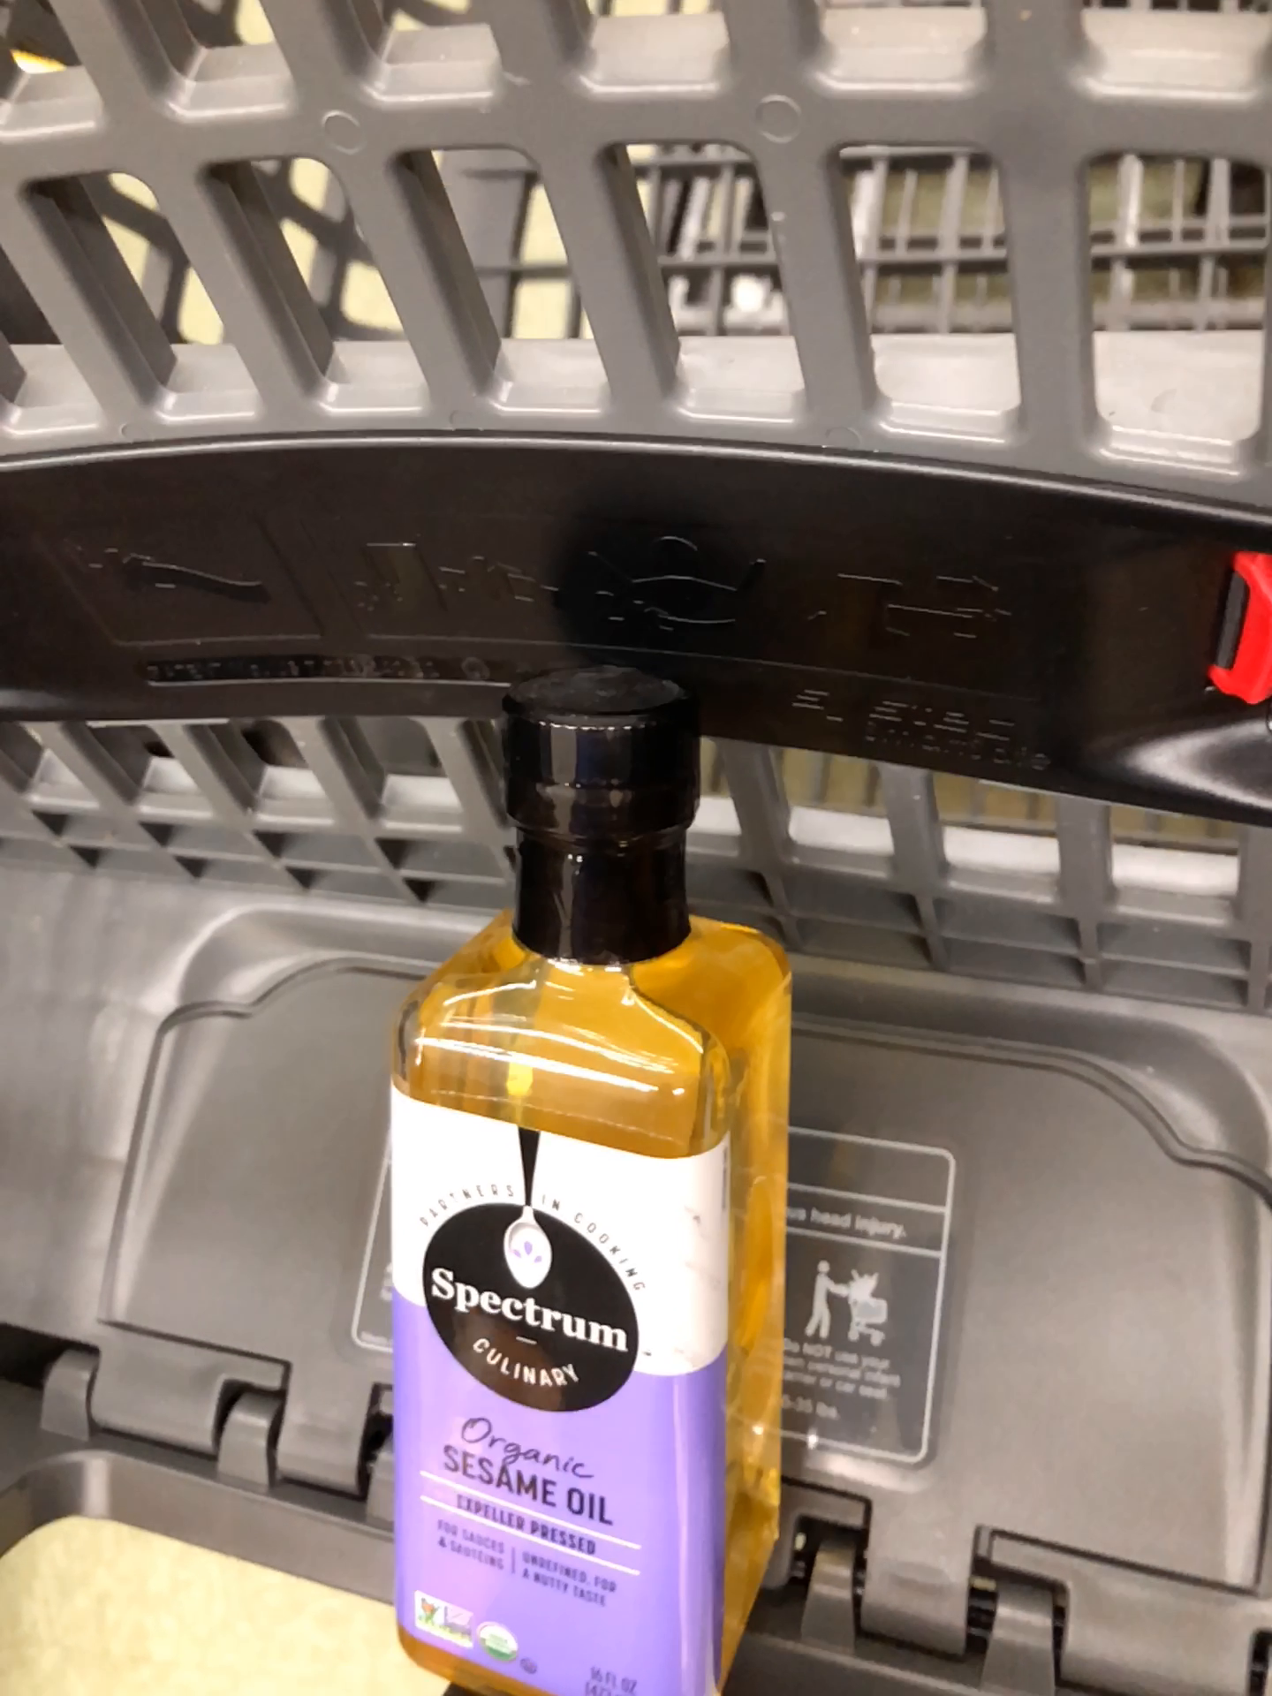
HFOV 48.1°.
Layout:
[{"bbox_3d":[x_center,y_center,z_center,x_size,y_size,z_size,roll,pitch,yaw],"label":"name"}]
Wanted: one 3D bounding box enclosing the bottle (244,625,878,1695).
[{"bbox_3d":[-0.009,0.068,0.264,0.080,0.065,0.200,9,115,18],"label":"bottle"}]
